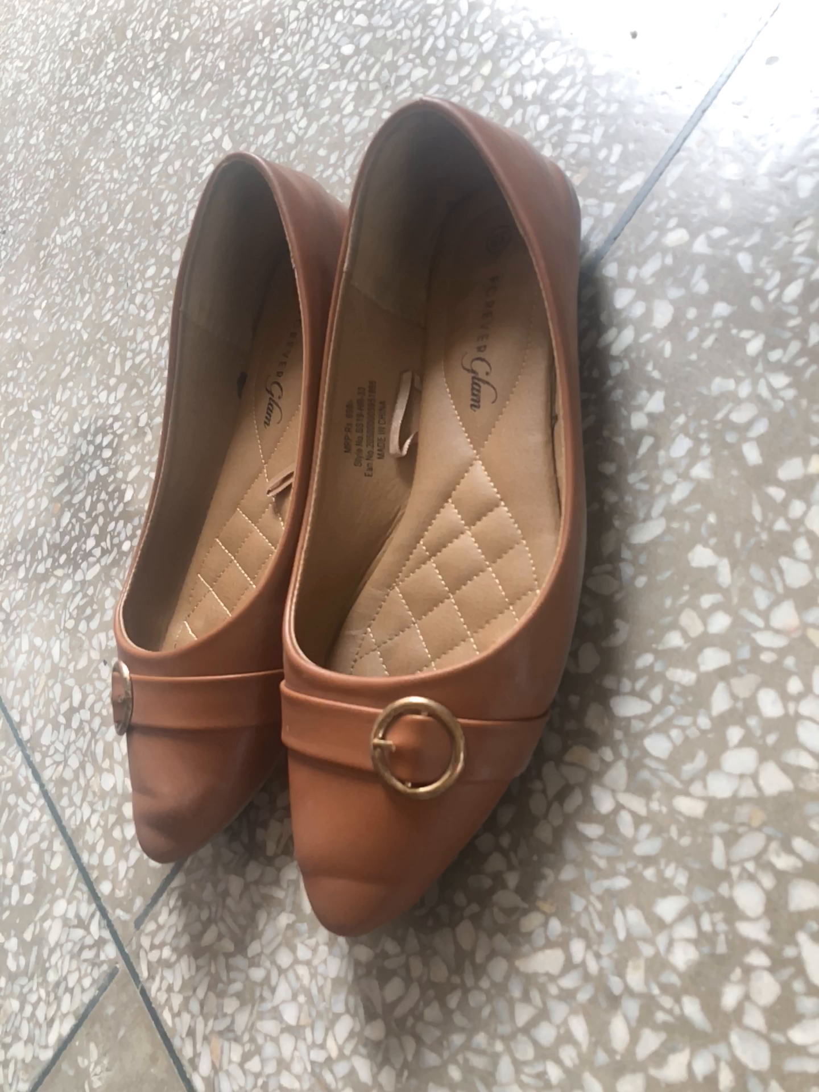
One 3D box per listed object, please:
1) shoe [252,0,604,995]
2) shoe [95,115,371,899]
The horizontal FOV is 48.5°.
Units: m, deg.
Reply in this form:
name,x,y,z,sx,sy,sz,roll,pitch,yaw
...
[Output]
name,x,y,z,sx,sy,sz,roll,pitch,yaw
shoe,0.004,-0.016,0.272,0.090,0.050,0.250,-5,82,43
shoe,-0.065,-0.013,0.336,0.090,0.050,0.250,-5,82,43
